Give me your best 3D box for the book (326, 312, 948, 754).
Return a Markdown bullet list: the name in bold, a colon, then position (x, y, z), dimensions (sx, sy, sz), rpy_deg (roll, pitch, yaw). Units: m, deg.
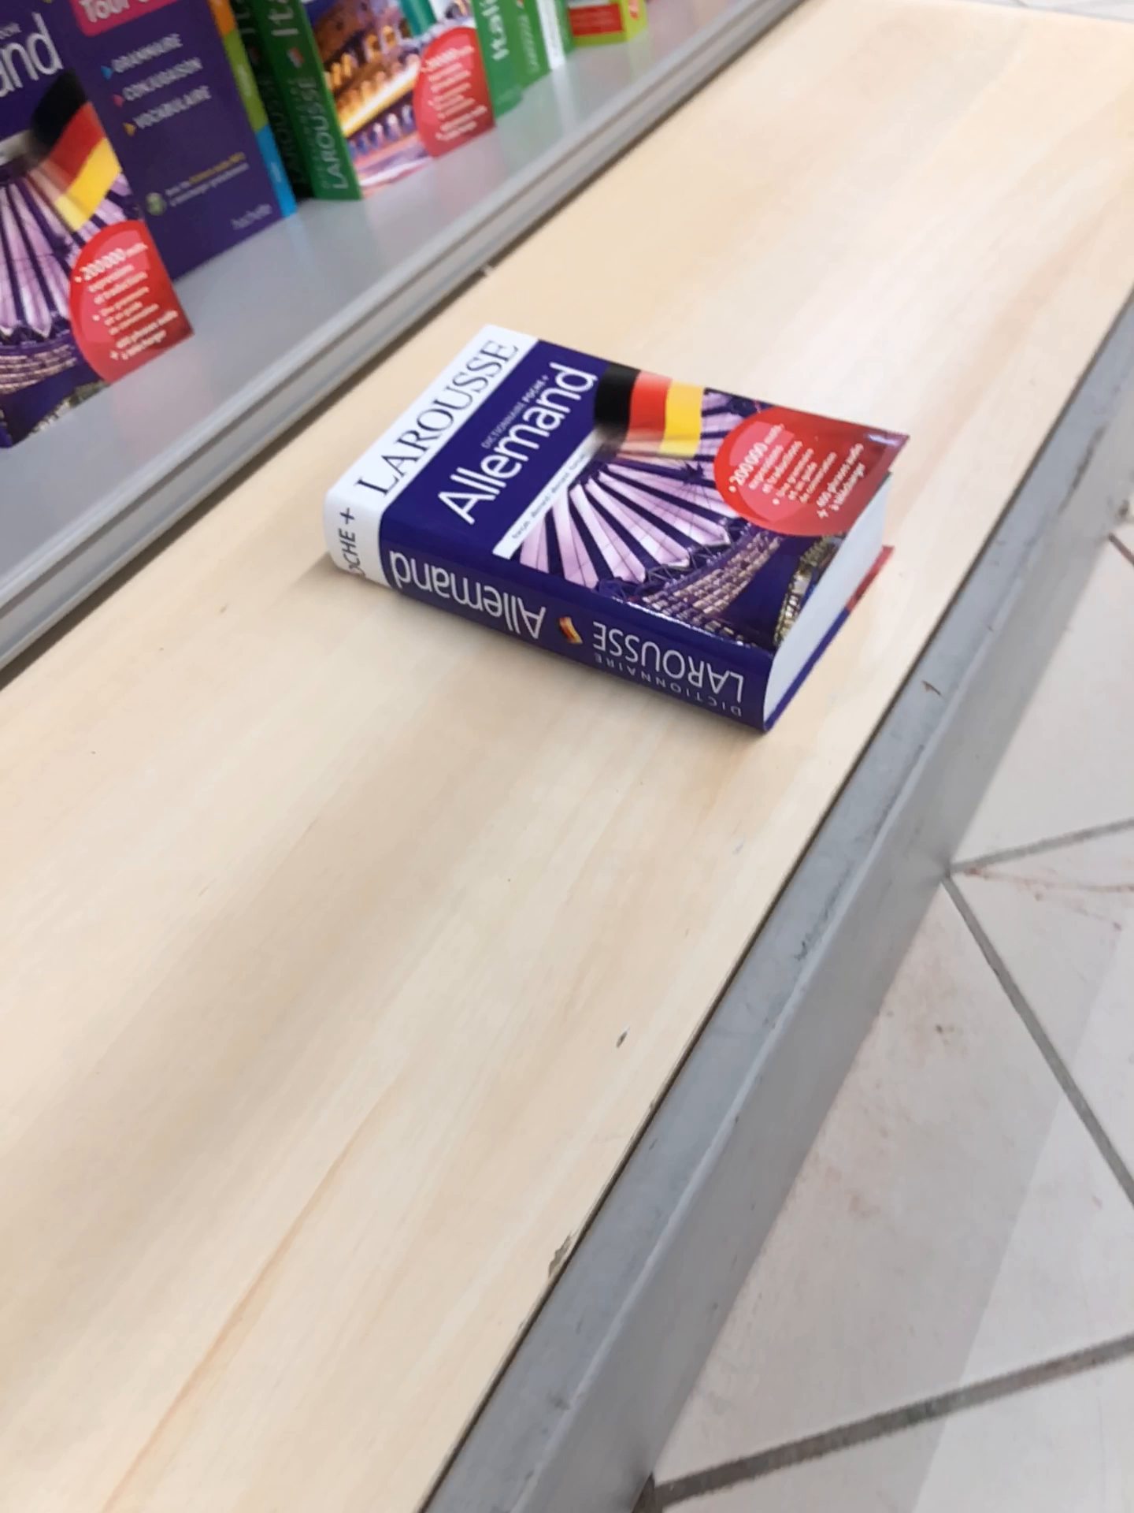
- **book**: position (0.025, -0.090, 0.455), dimensions (0.181, 0.050, 0.121), rpy_deg (23, 53, 22)
